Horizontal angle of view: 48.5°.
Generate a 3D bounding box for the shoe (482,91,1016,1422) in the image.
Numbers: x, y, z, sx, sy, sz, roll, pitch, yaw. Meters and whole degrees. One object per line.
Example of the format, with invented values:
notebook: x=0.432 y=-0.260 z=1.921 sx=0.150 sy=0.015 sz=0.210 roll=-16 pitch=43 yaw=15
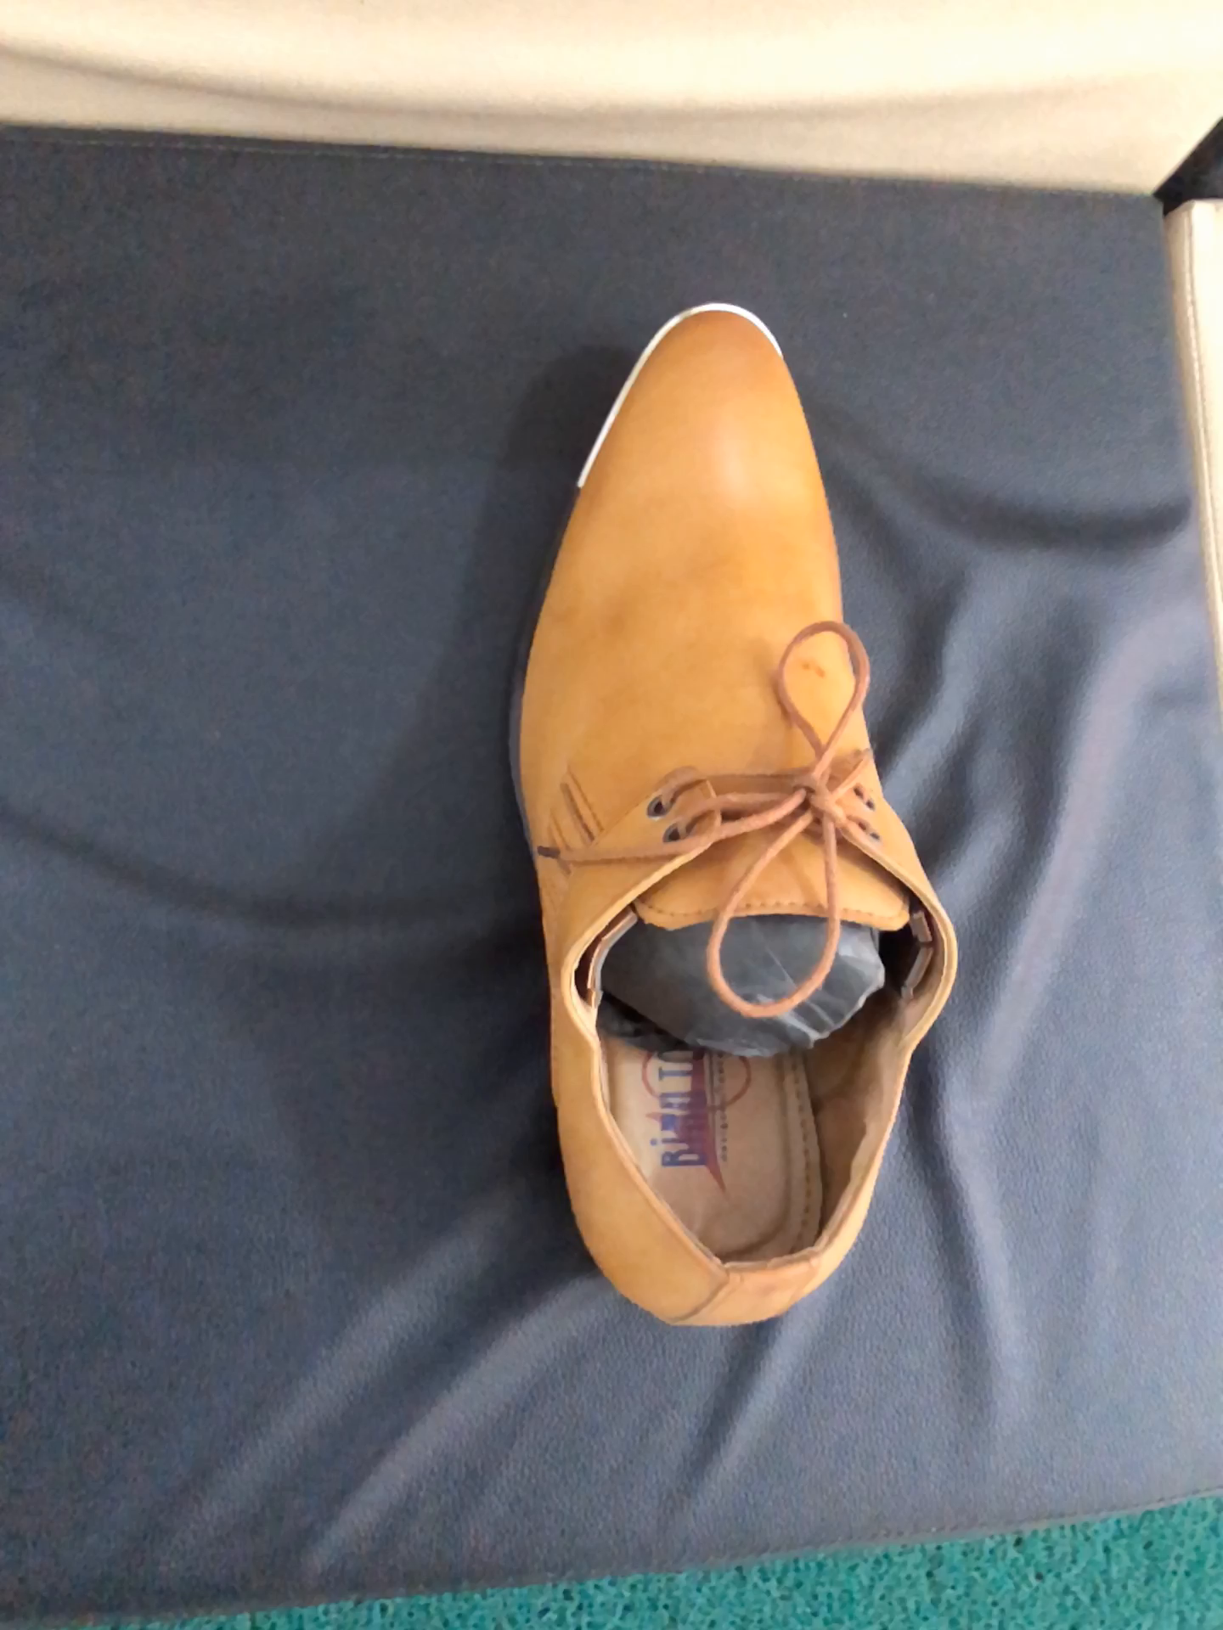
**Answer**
shoe: x=0.029 y=-0.014 z=0.357 sx=0.110 sy=0.100 sz=0.300 roll=3 pitch=81 yaw=-8
